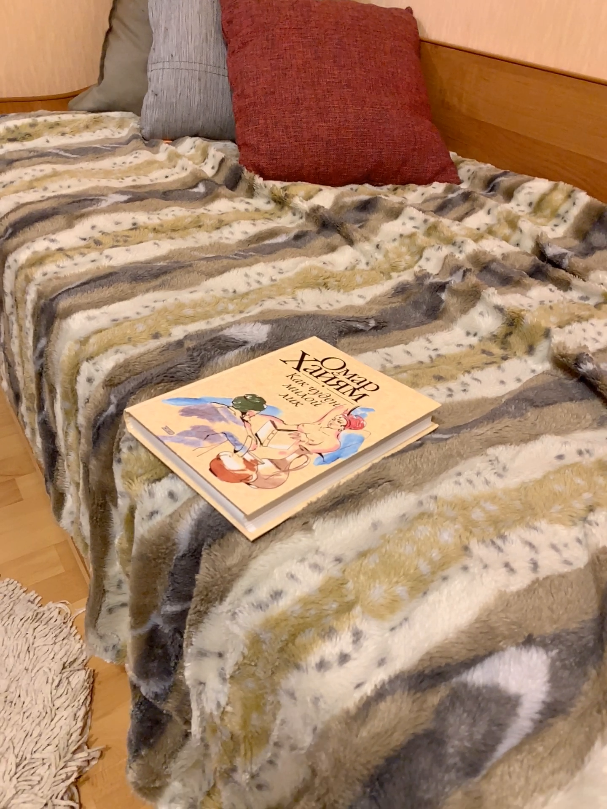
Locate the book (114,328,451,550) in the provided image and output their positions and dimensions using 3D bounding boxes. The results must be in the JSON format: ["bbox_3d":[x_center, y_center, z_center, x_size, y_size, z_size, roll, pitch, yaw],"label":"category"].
[{"bbox_3d":[-0.015,0.010,0.519,0.221,0.030,0.171,-25,41,-34],"label":"book"}]
